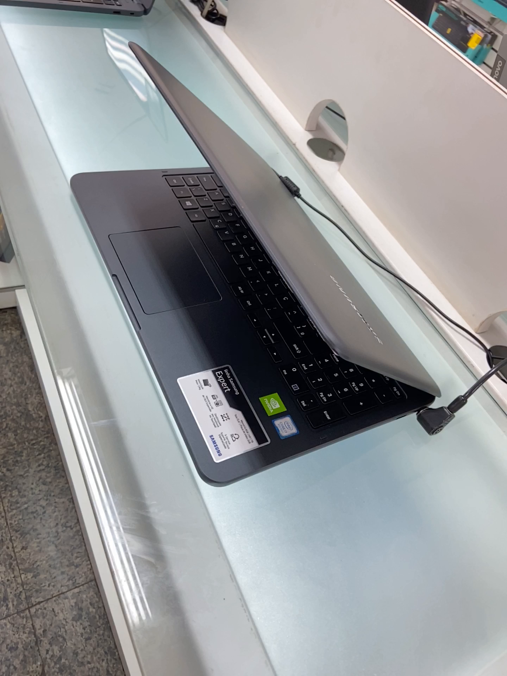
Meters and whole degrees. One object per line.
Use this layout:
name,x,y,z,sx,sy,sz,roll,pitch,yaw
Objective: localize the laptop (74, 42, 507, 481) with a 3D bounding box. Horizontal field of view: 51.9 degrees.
laptop,0.008,-0.105,0.486,0.239,0.140,0.377,-14,58,-28
